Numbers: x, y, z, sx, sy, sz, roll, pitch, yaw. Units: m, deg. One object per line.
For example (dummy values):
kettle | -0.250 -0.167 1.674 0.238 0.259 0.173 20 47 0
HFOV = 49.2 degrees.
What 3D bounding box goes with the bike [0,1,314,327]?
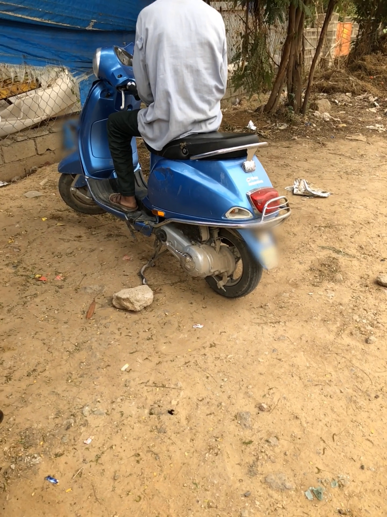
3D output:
bike | -0.287 -0.632 2.381 1.566 1.253 0.635 24 37 32
